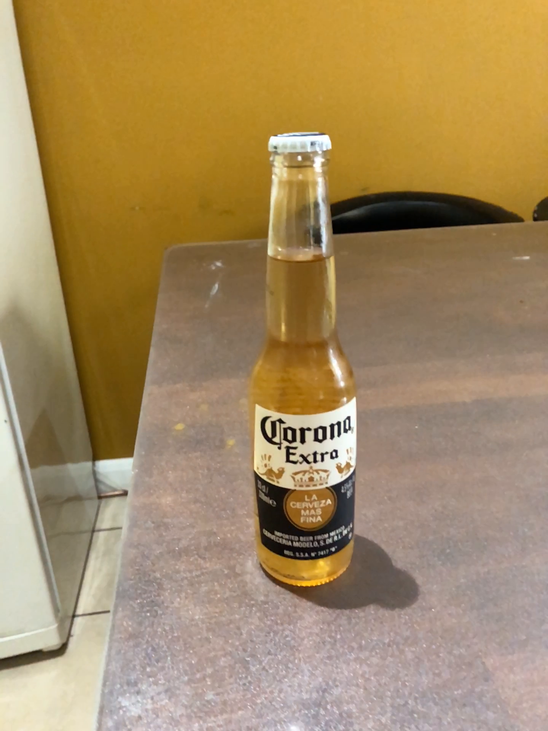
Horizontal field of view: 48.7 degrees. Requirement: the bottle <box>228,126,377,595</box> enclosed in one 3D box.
[{"bbox_3d":[0.013,0.005,0.318,0.060,0.238,0.060,-2,24,1],"label":"bottle"}]
